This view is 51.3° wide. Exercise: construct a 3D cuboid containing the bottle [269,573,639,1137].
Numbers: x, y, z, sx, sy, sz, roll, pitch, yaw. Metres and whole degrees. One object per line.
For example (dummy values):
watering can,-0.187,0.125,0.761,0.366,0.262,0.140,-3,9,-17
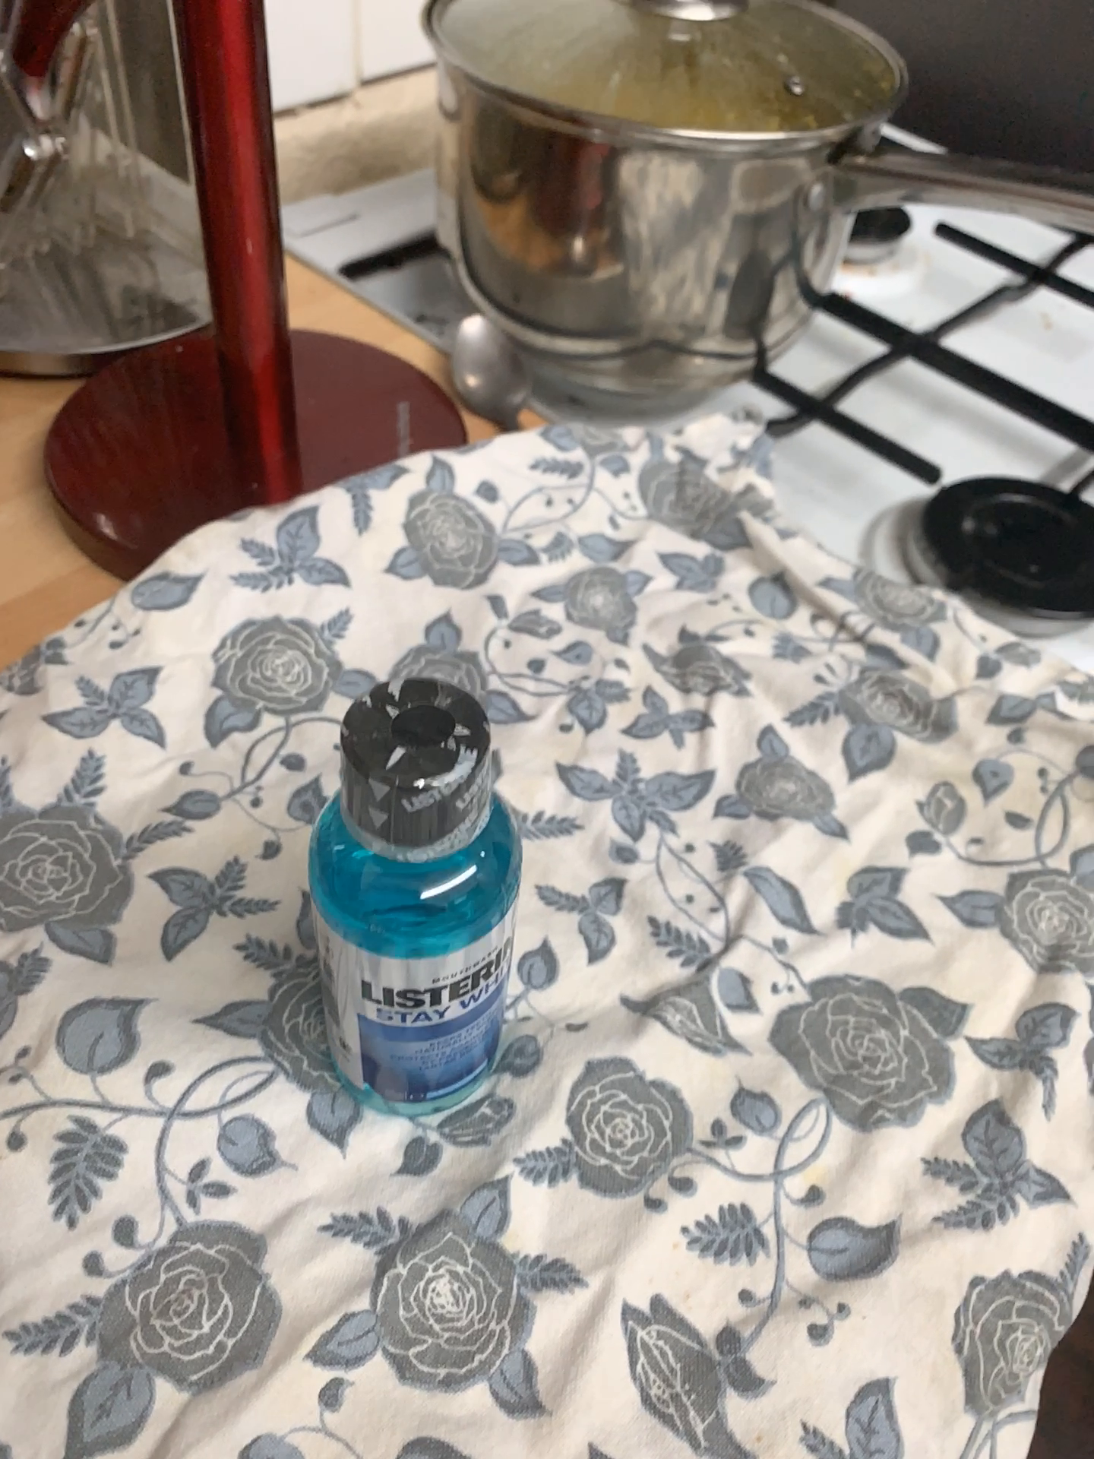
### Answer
bottle,-0.022,0.030,0.231,0.050,0.109,0.050,3,48,-4
